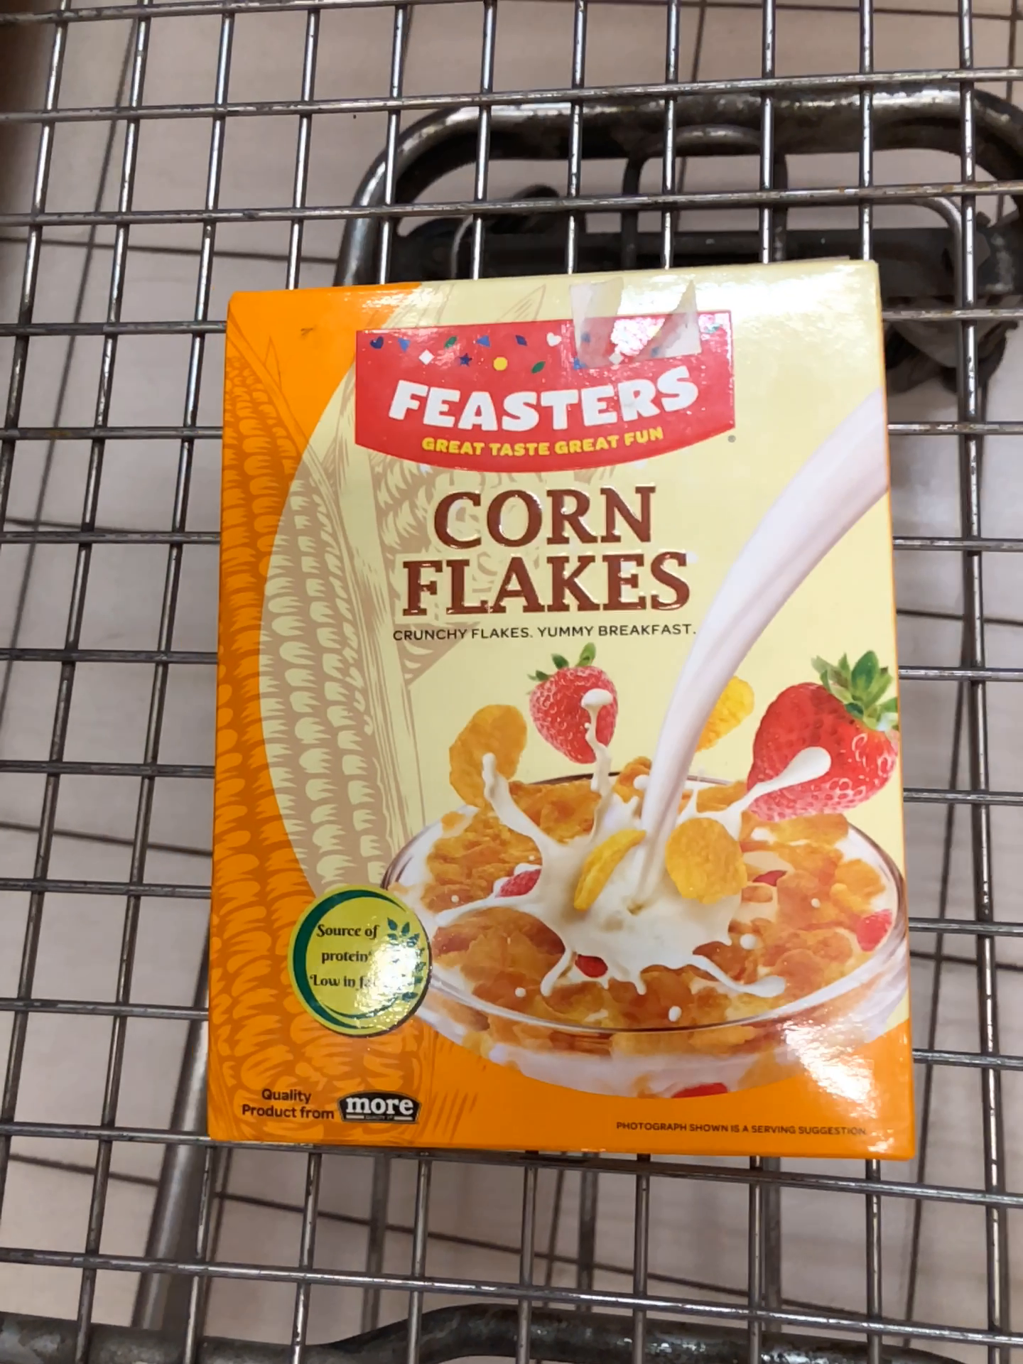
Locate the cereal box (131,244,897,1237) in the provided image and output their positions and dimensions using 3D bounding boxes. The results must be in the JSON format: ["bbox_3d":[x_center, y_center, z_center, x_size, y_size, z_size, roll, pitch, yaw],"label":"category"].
[{"bbox_3d":[0.002,0.010,0.245,0.140,0.060,0.180,0,85,7],"label":"cereal box"}]
